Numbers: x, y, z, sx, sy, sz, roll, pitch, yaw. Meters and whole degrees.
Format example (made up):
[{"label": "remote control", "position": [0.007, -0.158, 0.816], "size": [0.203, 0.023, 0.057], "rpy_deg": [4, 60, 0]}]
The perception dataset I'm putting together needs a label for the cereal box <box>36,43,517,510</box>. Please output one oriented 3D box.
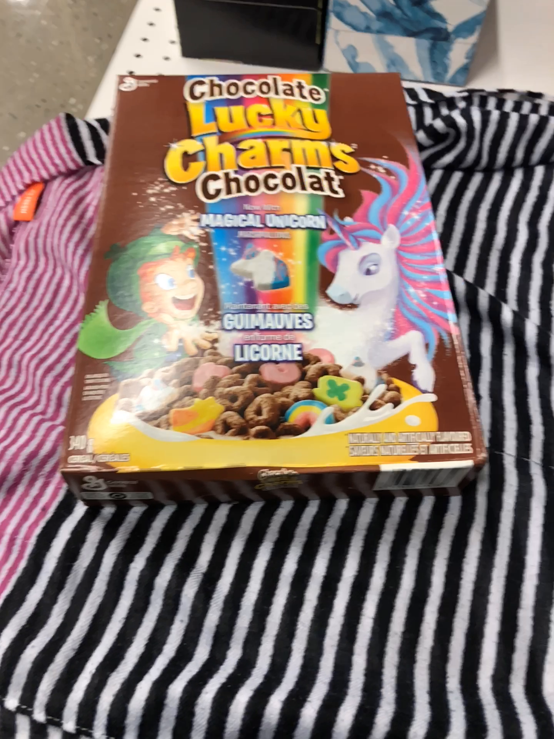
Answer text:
[{"label": "cereal box", "position": [-0.006, -0.072, 0.364], "size": [0.210, 0.060, 0.291], "rpy_deg": [-2, 62, -2]}]
